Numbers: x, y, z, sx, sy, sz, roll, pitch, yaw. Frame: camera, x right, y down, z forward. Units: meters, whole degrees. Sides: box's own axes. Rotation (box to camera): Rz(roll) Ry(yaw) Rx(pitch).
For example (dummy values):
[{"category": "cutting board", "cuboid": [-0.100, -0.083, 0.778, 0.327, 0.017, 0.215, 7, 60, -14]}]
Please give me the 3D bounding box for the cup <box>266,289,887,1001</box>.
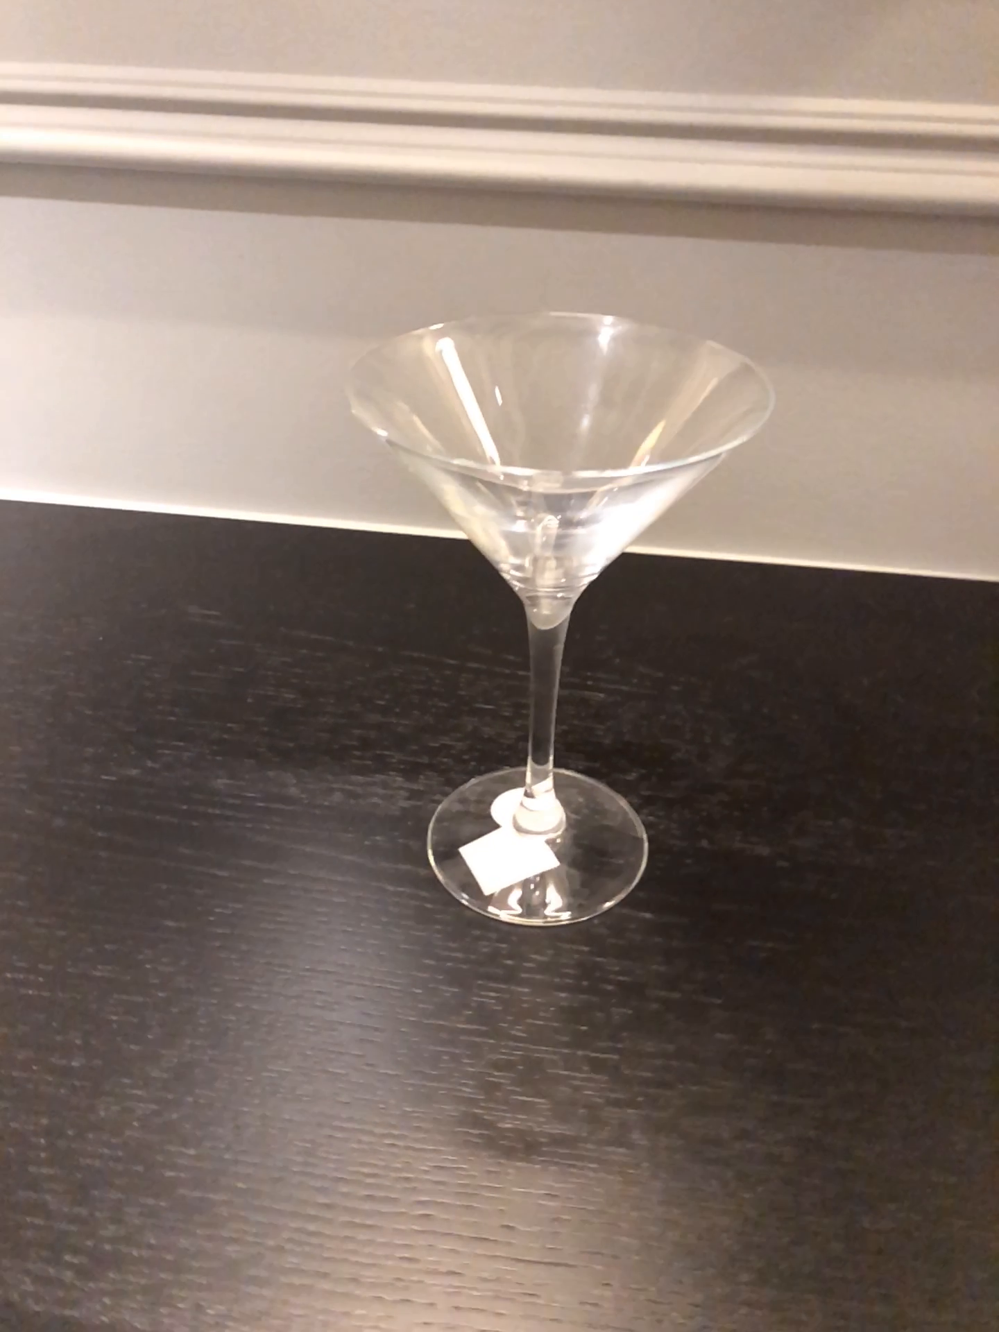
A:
[{"category": "cup", "cuboid": [0.018, -0.016, 0.361, 0.120, 0.159, 0.130, 1, 34, -1]}]
